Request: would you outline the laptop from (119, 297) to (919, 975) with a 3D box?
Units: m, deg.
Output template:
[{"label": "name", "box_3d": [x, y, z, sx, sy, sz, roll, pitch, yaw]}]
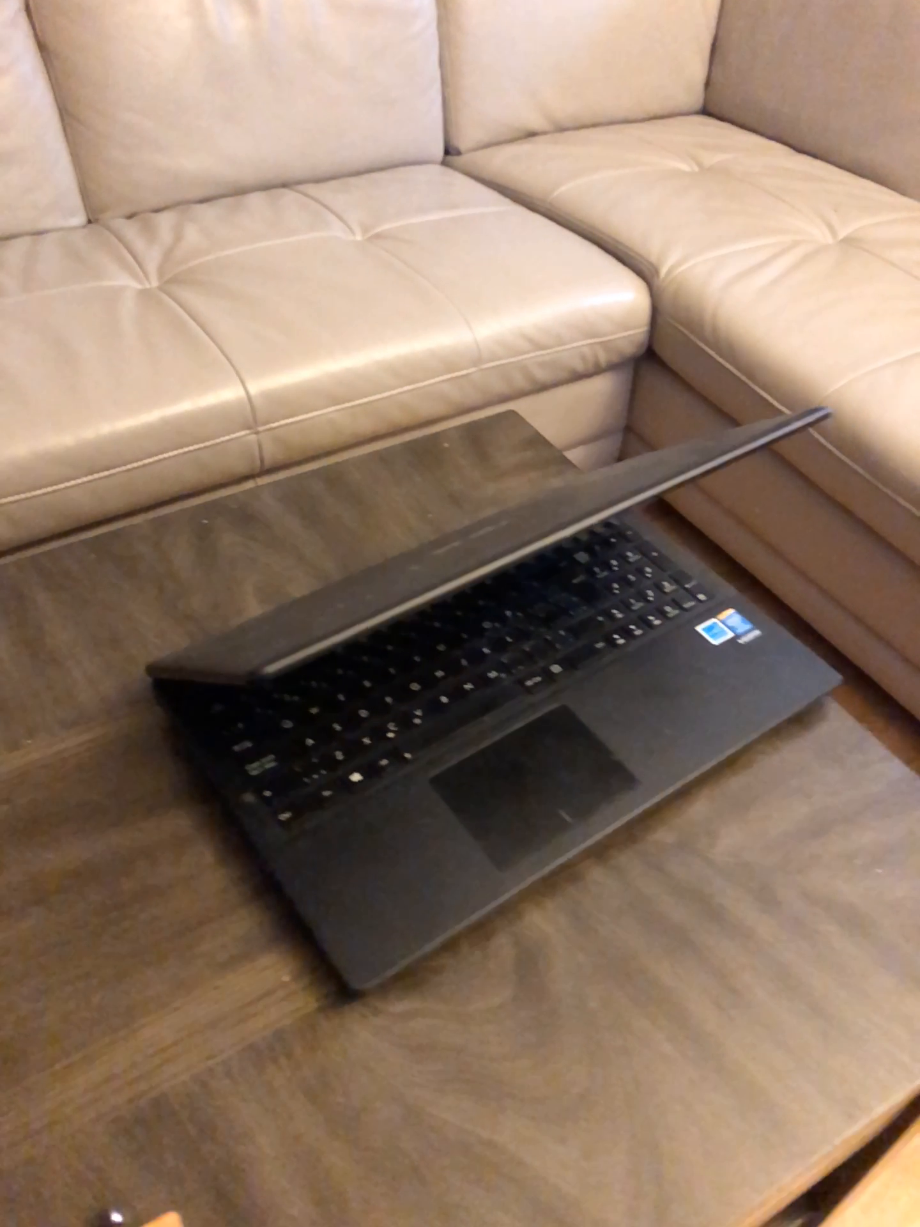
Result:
[{"label": "laptop", "box_3d": [0.039, -0.017, 0.605, 0.372, 0.164, 0.239, -25, 51, -26]}]
